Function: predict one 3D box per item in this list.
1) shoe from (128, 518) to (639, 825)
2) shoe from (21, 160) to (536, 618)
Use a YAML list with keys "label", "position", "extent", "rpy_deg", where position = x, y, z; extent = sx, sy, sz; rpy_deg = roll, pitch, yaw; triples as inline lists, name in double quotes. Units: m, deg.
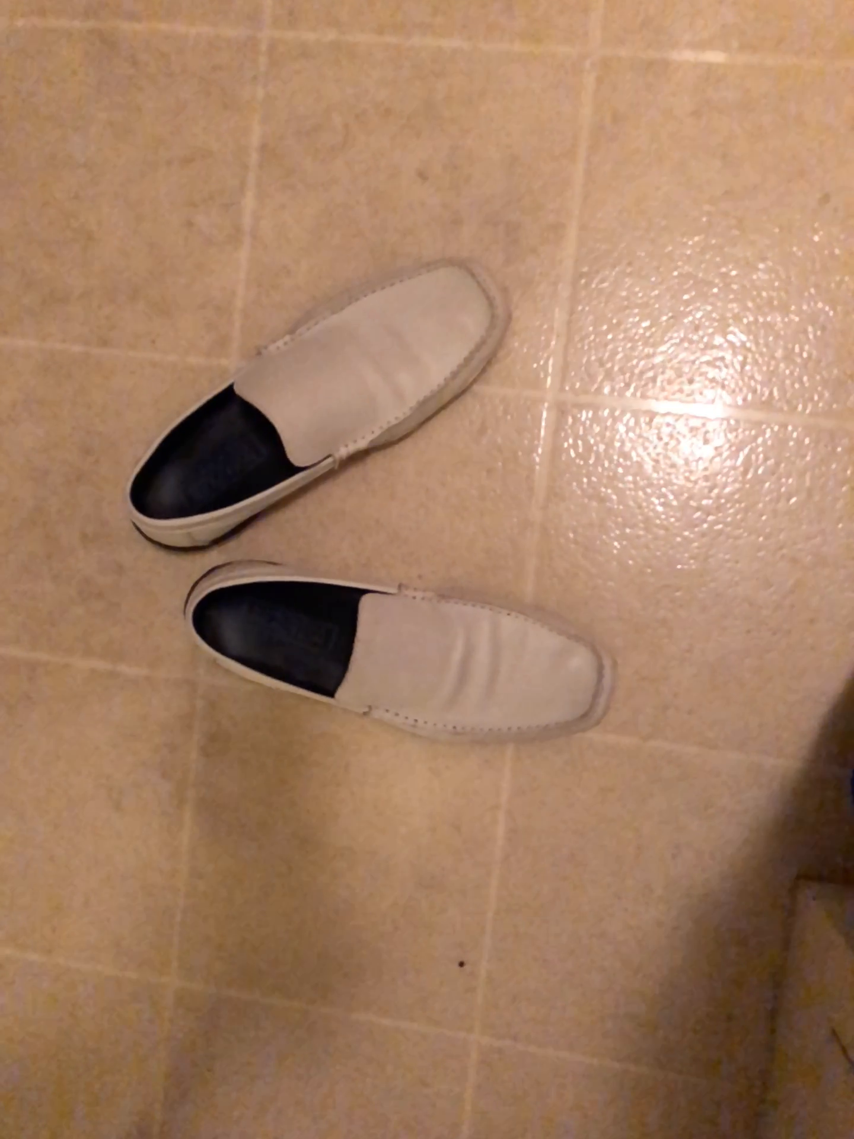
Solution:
- label: "shoe"
  position: [-0.025, 0.056, 0.606]
  extent: [0.289, 0.097, 0.110]
  rpy_deg: [15, 95, 7]
- label: "shoe"
  position: [-0.089, -0.105, 0.608]
  extent: [0.306, 0.097, 0.110]
  rpy_deg: [-35, 88, 8]
